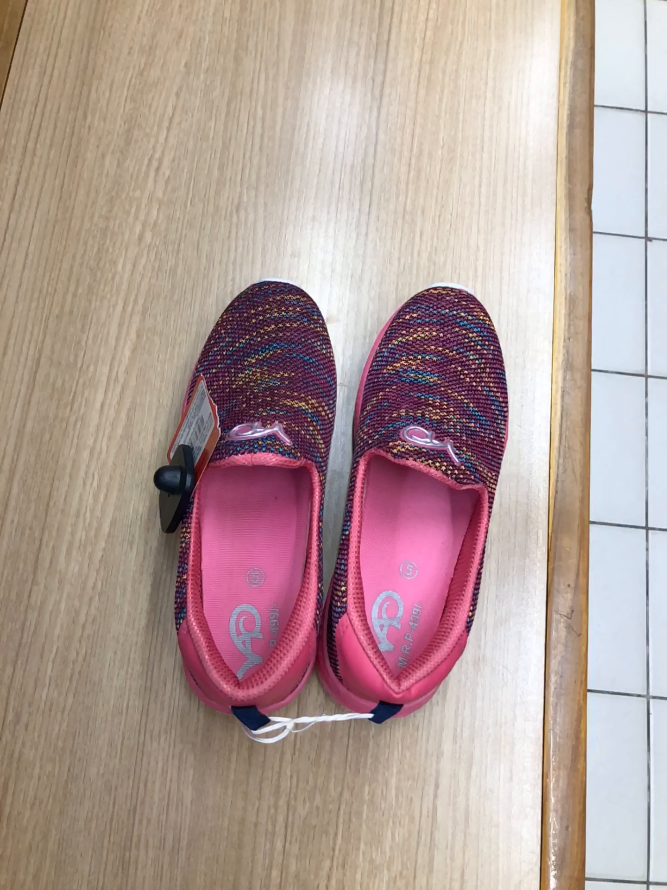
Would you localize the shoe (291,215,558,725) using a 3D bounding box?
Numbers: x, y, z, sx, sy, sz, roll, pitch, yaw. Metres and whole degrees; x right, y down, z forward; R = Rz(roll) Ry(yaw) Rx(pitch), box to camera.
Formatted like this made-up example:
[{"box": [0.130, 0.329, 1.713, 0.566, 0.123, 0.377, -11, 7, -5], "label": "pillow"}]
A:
[{"box": [0.052, 0.014, 0.439, 0.100, 0.100, 0.260, 12, 77, 0], "label": "shoe"}]

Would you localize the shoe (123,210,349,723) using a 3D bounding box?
[{"box": [-0.045, 0.012, 0.407, 0.090, 0.100, 0.250, 3, 77, -2], "label": "shoe"}]
